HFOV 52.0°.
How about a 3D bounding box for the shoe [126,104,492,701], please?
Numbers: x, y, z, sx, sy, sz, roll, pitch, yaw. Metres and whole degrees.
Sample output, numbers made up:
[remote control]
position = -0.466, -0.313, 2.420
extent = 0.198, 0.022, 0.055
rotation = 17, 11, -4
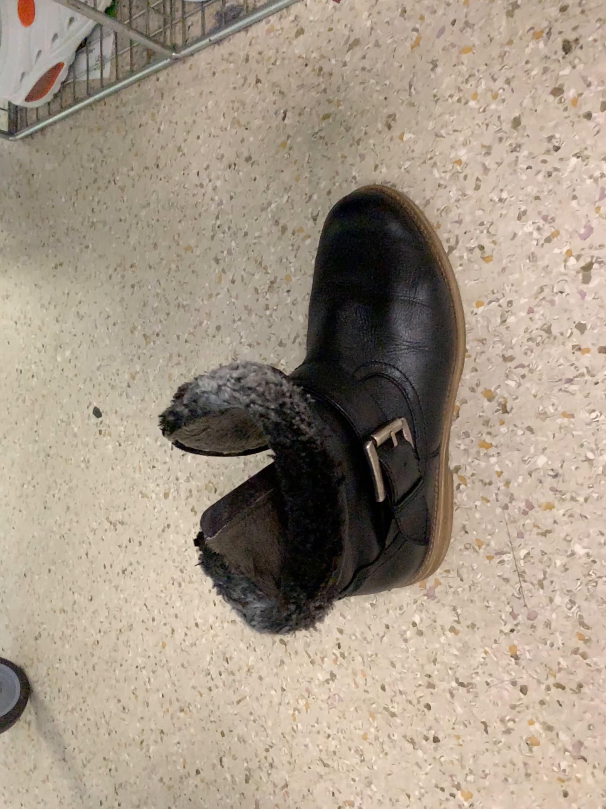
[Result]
[shoe]
position = 0.012, -0.001, 0.344
extent = 0.104, 0.168, 0.236
rotation = -5, 89, 40
